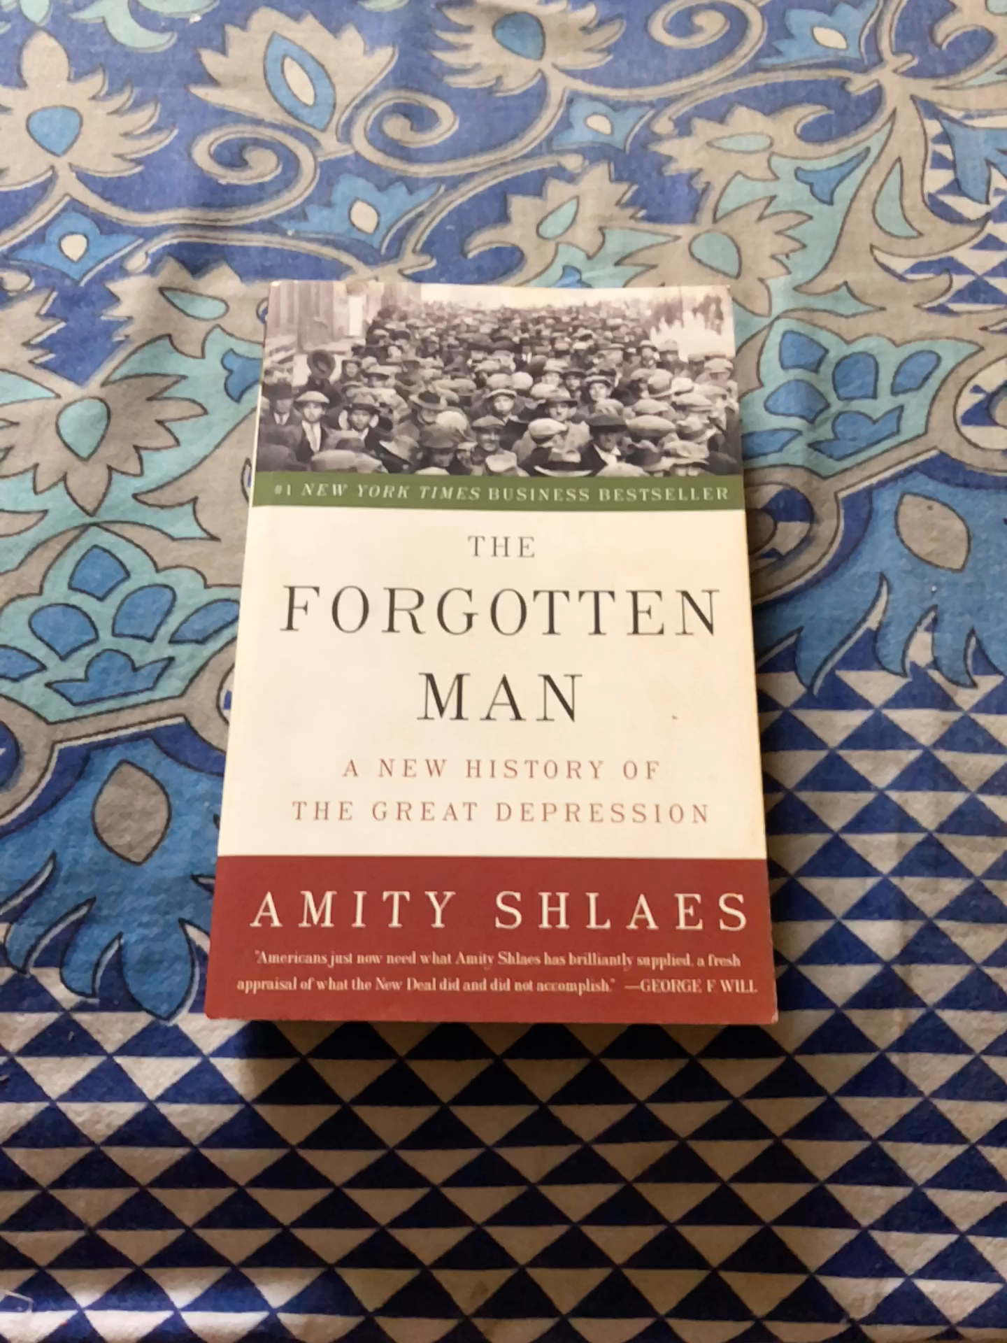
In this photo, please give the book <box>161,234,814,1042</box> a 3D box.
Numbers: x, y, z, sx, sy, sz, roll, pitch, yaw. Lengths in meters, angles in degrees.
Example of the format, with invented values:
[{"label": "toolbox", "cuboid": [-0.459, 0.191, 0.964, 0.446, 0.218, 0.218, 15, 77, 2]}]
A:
[{"label": "book", "cuboid": [-0.006, -0.012, 0.293, 0.140, 0.050, 0.200, -1, 74, -2]}]
